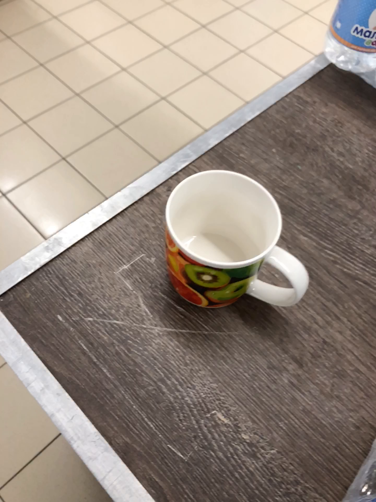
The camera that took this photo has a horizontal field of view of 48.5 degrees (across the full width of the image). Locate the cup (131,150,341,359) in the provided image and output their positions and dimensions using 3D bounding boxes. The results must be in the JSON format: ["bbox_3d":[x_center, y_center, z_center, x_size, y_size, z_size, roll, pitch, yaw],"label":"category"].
[{"bbox_3d":[0.034,0.003,0.342,0.126,0.085,0.091,32,62,14],"label":"cup"}]
